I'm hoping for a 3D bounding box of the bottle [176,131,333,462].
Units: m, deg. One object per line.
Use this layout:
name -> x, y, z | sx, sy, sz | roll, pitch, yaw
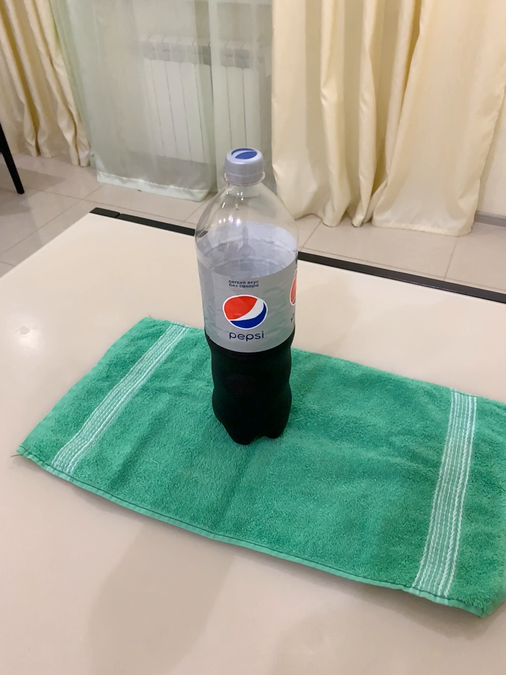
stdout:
bottle -> 0.002, -0.022, 0.494 | 0.100, 0.298, 0.101 | -1, 41, 1
